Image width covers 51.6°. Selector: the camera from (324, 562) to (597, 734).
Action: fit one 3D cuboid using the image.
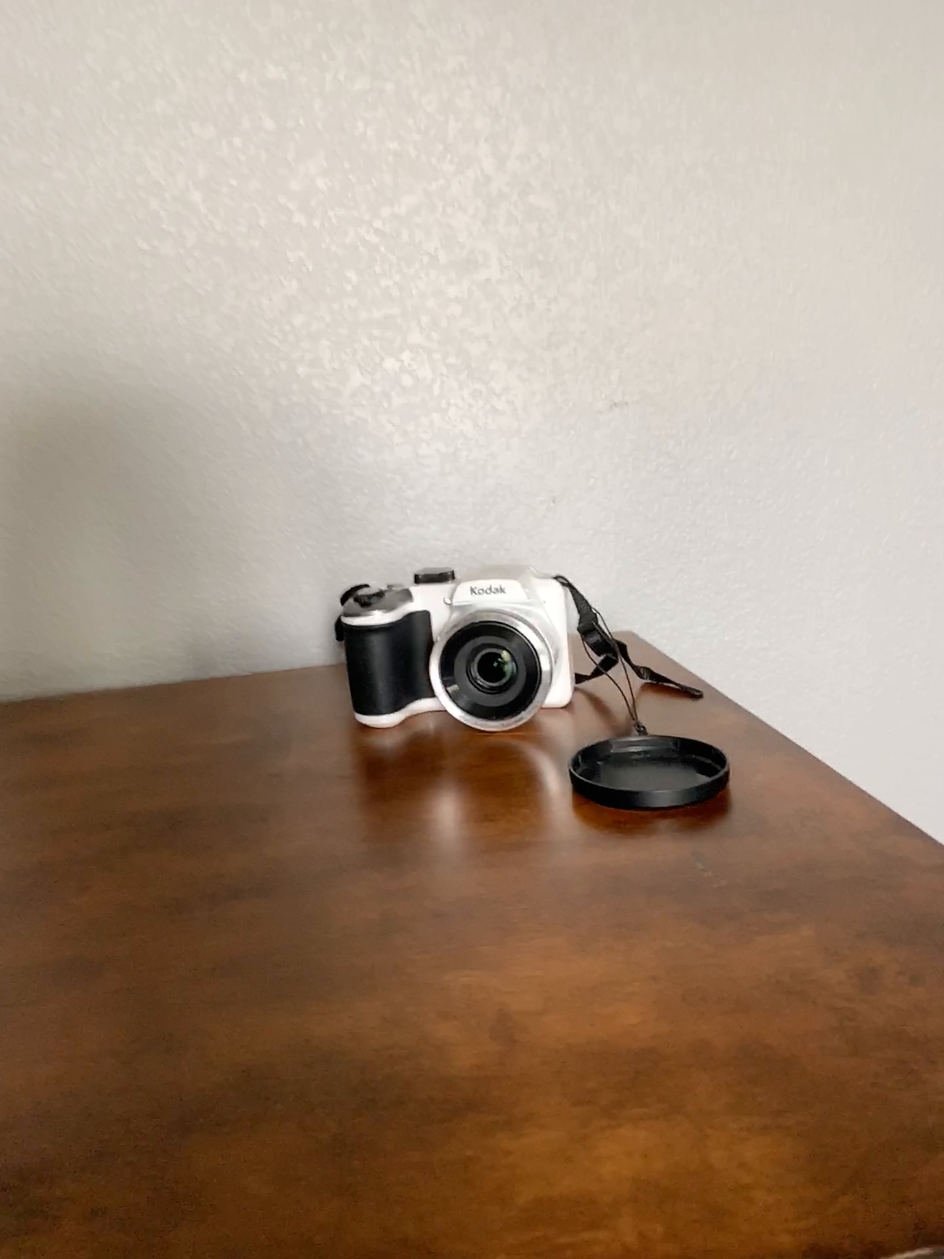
[{"bbox_3d":[-0.003,0.008,0.508,0.119,0.071,0.070,-2,11,20],"label":"camera"}]
